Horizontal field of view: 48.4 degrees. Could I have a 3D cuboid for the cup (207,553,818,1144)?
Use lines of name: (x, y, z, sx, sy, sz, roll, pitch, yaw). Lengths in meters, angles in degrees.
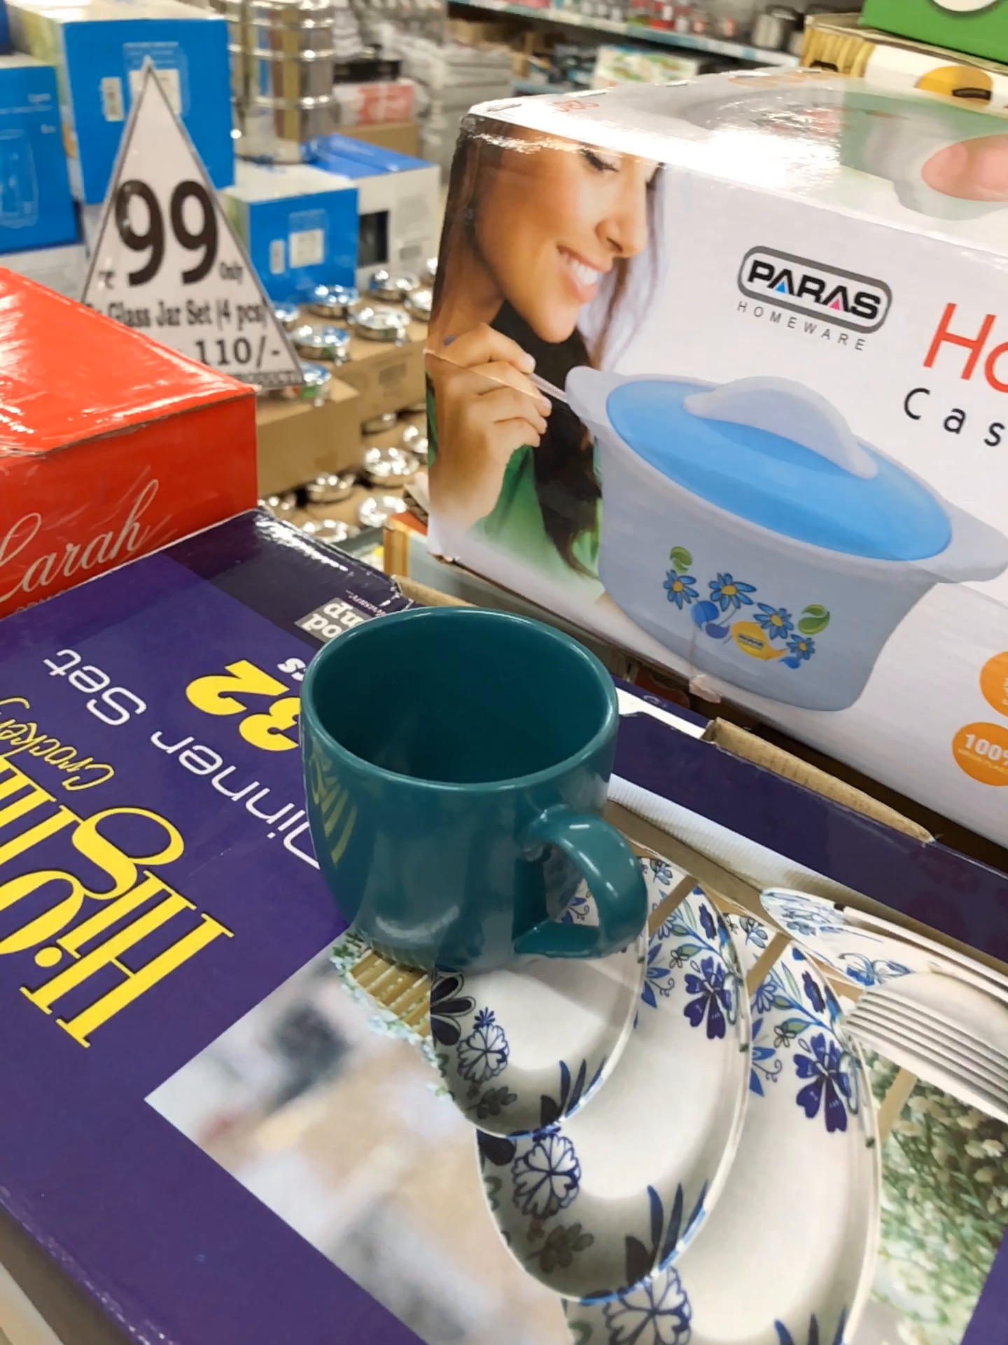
cup: (-0.001, 0.026, 0.211, 0.090, 0.050, 0.060, 28, 40, 27)
